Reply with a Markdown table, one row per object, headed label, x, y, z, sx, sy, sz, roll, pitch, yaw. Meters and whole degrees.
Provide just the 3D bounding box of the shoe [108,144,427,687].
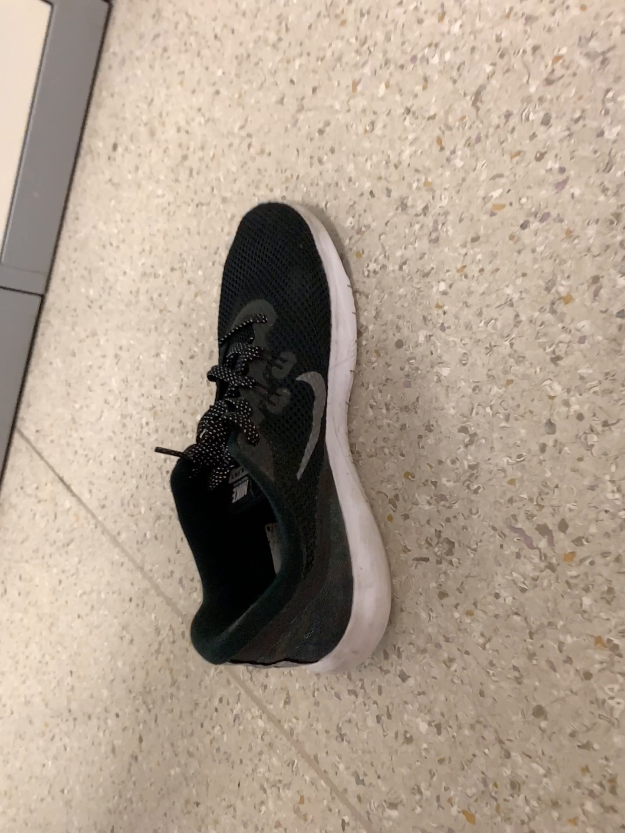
| label | x | y | z | sx | sy | sz | roll | pitch | yaw |
| --- | --- | --- | --- | --- | --- | --- | --- | --- | --- |
| shoe | -0.035 | 0.005 | 0.358 | 0.114 | 0.093 | 0.253 | -24 | 68 | 41 |
